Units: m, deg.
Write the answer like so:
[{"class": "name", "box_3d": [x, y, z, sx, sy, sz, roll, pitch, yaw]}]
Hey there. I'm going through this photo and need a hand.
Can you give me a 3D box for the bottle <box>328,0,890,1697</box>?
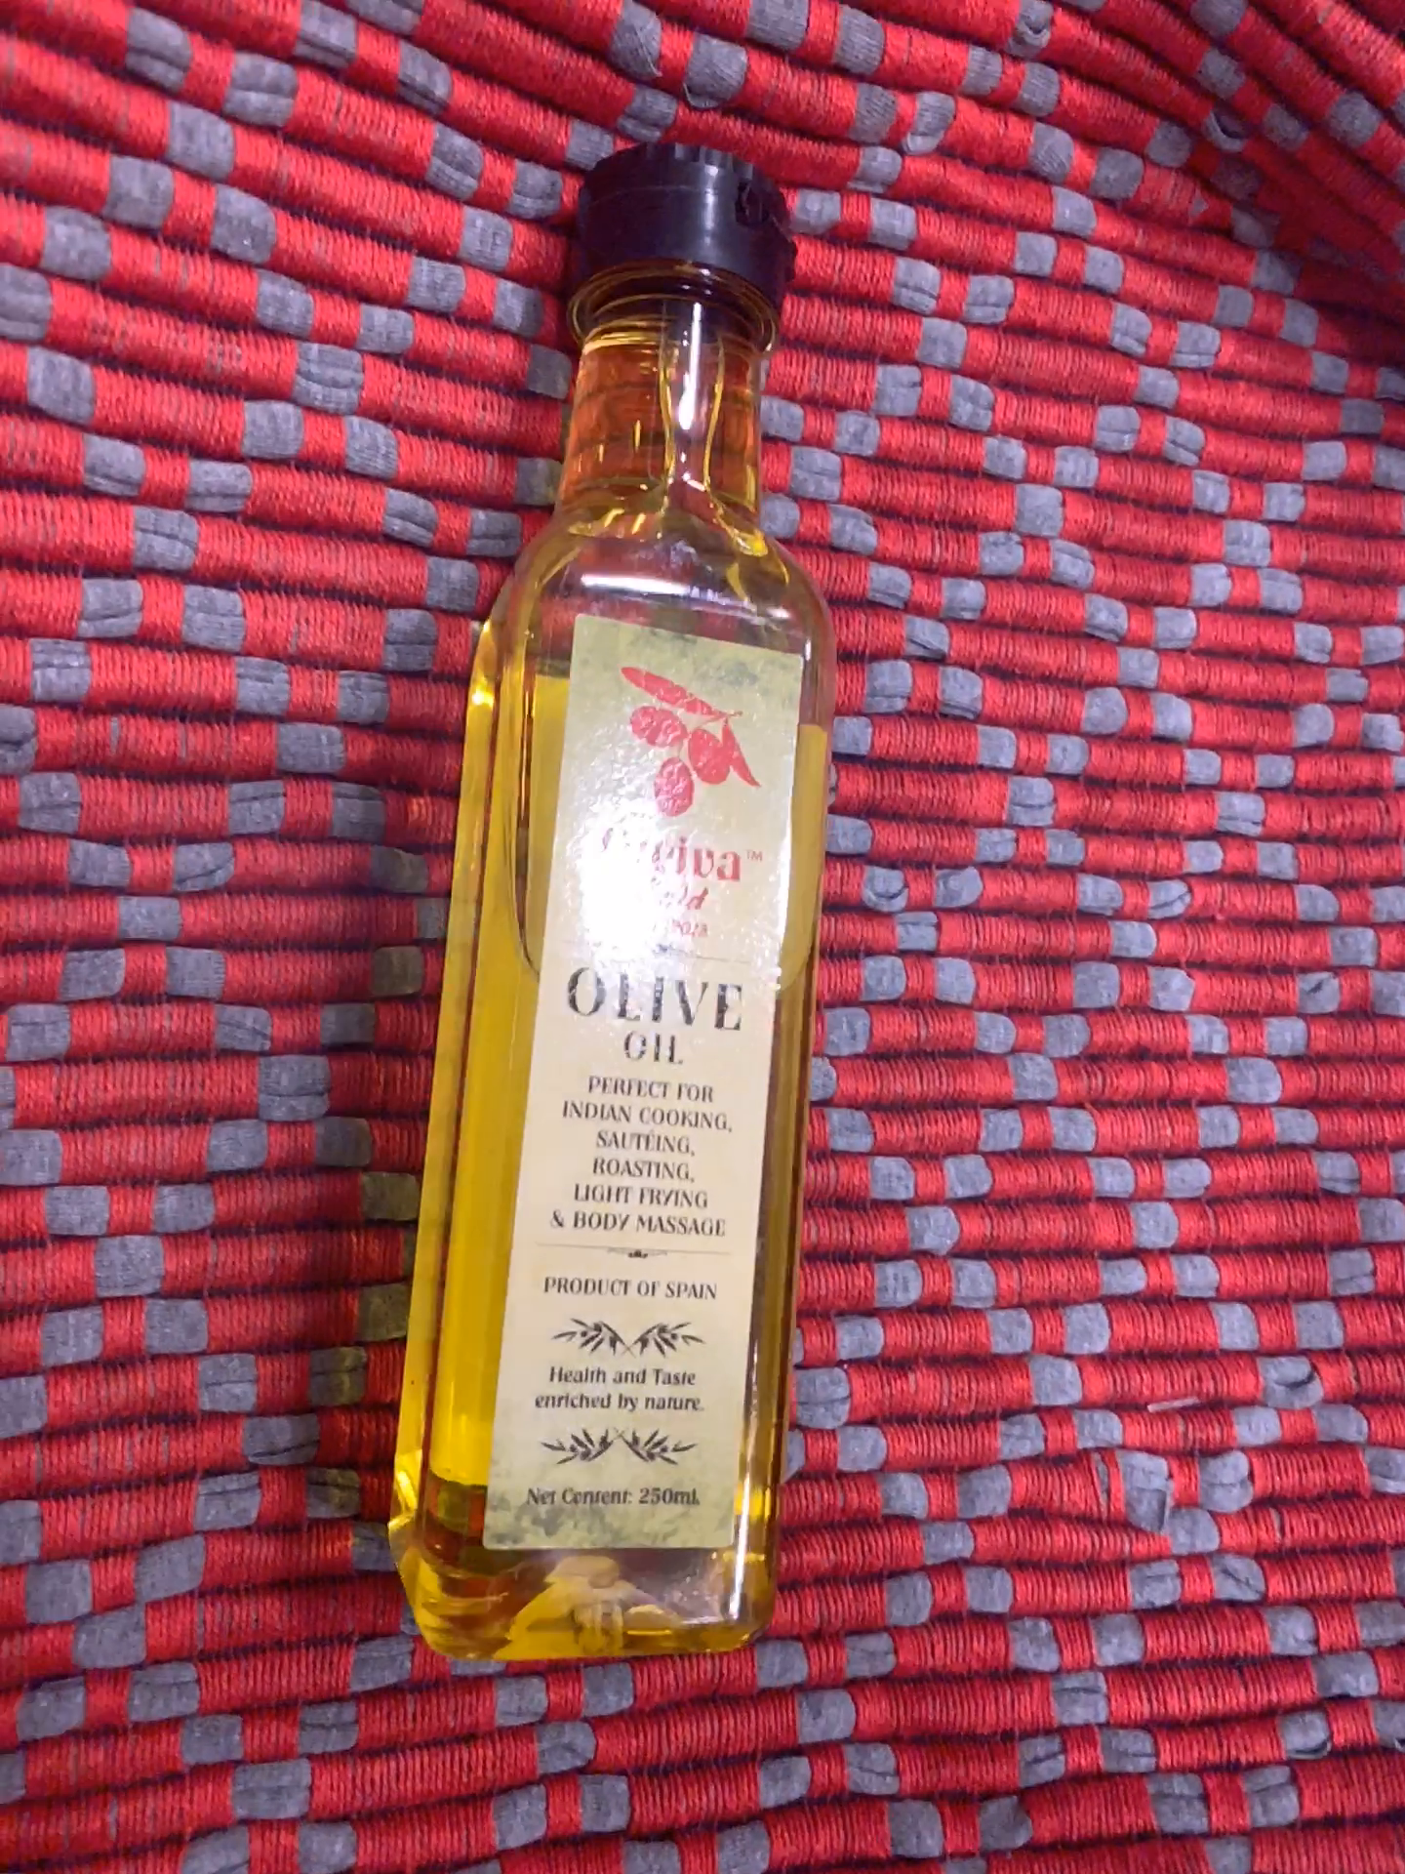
[{"class": "bottle", "box_3d": [-0.013, -0.020, 0.196, 0.050, 0.050, 0.210, 6, 82, -17]}]
